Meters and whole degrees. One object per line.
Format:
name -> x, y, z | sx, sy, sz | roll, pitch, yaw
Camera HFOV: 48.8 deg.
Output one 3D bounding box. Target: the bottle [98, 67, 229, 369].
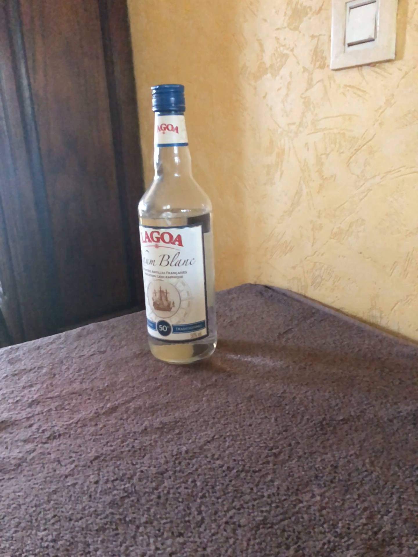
bottle -> -0.038, -0.056, 0.461 | 0.080, 0.269, 0.080 | -3, 16, 1
